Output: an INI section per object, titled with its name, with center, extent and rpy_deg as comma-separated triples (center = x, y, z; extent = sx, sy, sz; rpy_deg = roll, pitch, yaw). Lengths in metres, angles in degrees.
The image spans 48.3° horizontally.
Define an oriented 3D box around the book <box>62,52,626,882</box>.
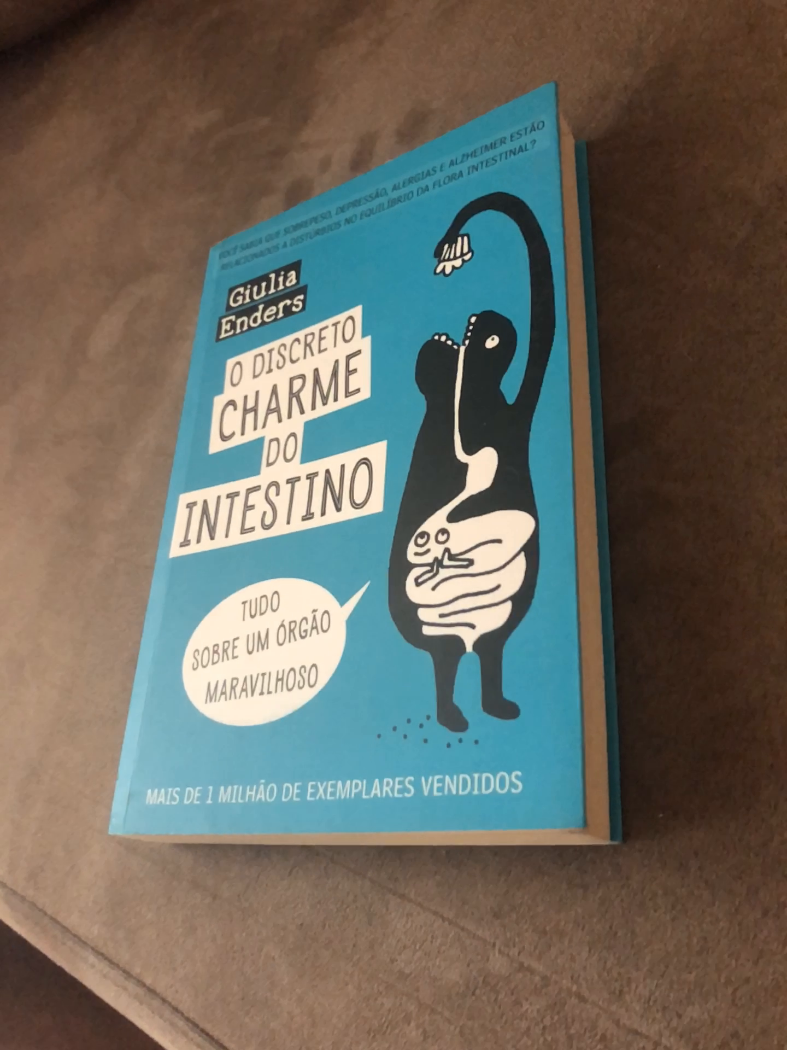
[book]
center = -0.012, -0.019, 0.253
extent = 0.140, 0.030, 0.221
rpy_deg = -12, 60, 30
